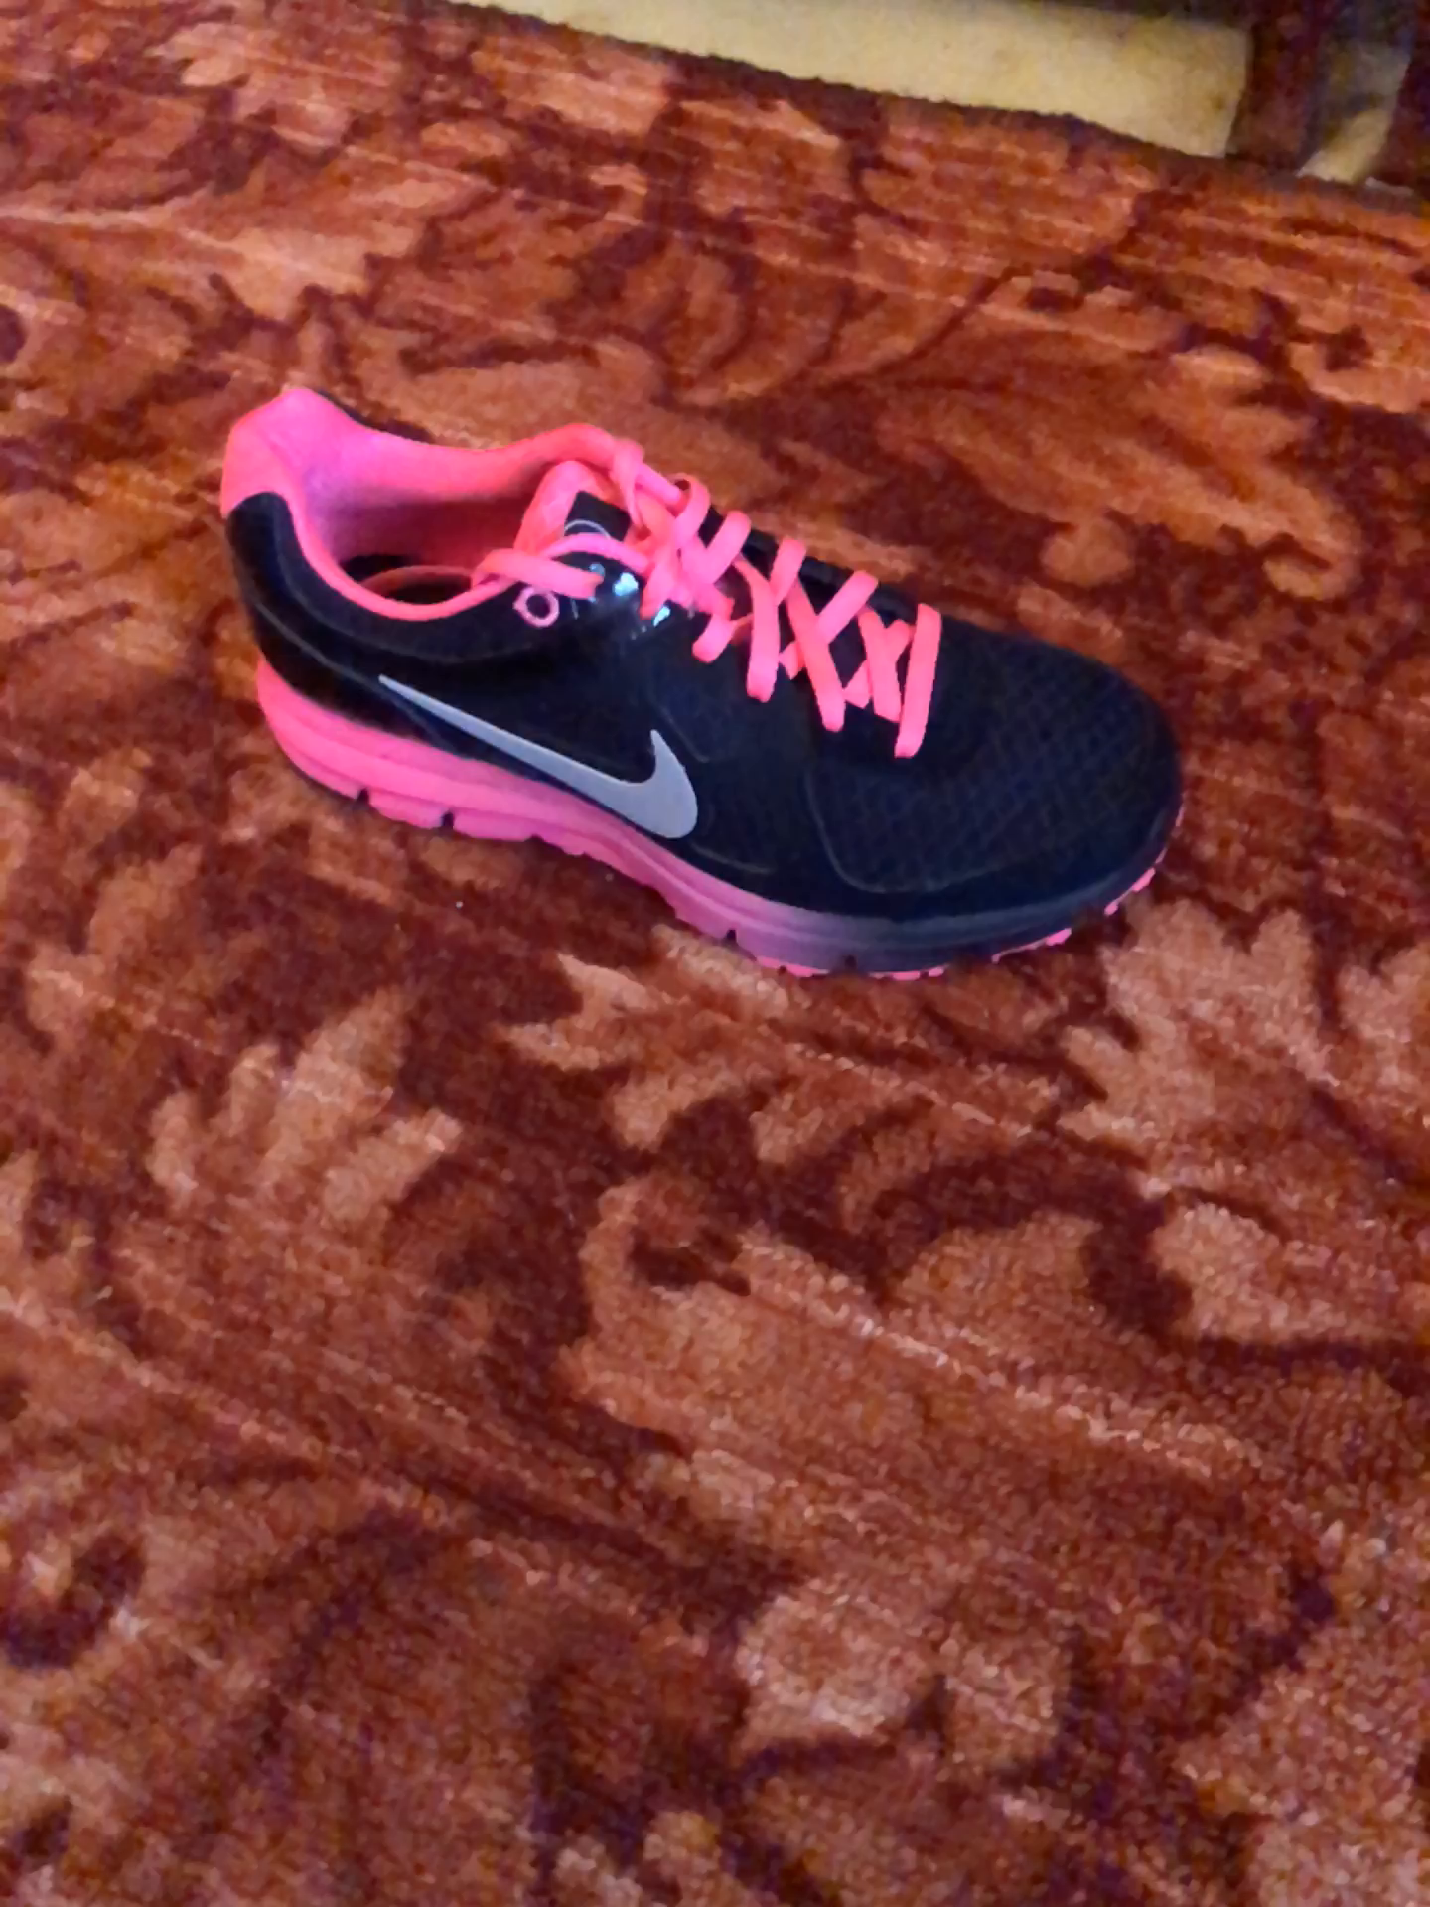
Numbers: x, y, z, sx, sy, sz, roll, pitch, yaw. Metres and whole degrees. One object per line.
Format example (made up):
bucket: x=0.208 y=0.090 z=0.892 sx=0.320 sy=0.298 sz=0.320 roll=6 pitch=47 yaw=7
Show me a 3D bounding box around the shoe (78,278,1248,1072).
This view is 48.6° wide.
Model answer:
shoe: x=-0.009 y=-0.071 z=0.396 sx=0.240 sy=0.110 sz=0.100 roll=15 pitch=59 yaw=11
